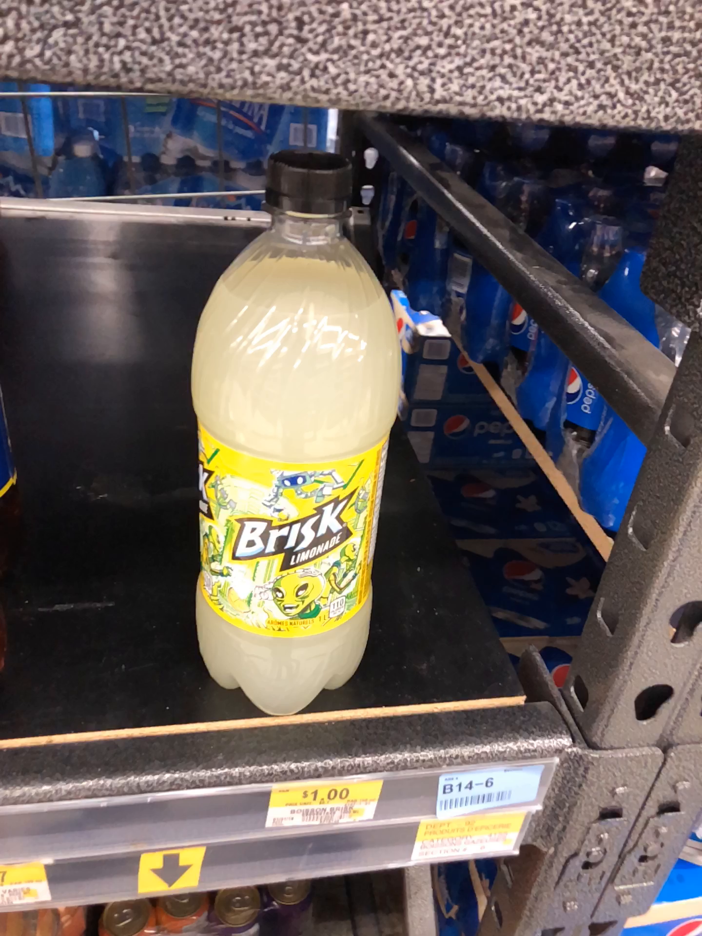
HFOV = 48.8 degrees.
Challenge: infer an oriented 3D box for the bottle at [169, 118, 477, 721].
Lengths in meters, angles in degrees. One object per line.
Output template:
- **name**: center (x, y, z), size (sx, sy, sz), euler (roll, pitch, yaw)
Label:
- **bottle**: center (-0.025, -0.010, 0.322), size (0.090, 0.228, 0.091), euler (5, 33, -3)
